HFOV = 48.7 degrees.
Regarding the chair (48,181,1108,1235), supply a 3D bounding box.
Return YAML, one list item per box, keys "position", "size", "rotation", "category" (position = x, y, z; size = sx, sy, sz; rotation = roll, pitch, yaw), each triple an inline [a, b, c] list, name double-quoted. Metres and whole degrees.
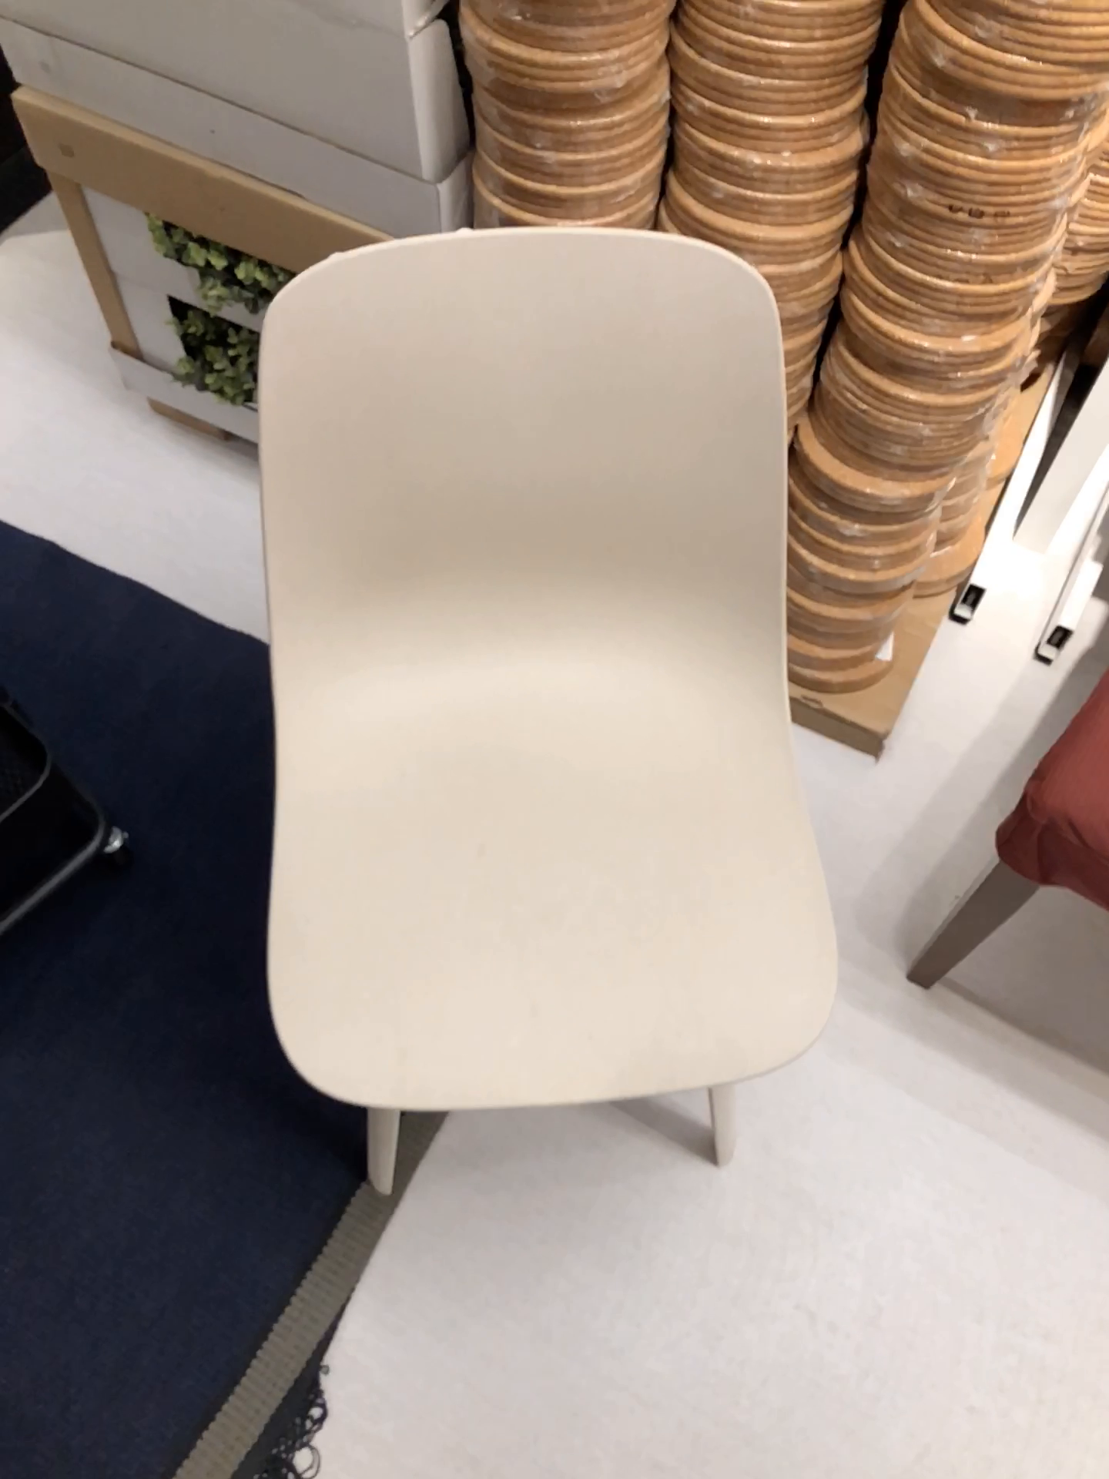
- position: [-0.004, 0.054, 0.941]
  size: [0.450, 0.697, 0.492]
  rotation: [-5, 62, -2]
  category: "chair"
